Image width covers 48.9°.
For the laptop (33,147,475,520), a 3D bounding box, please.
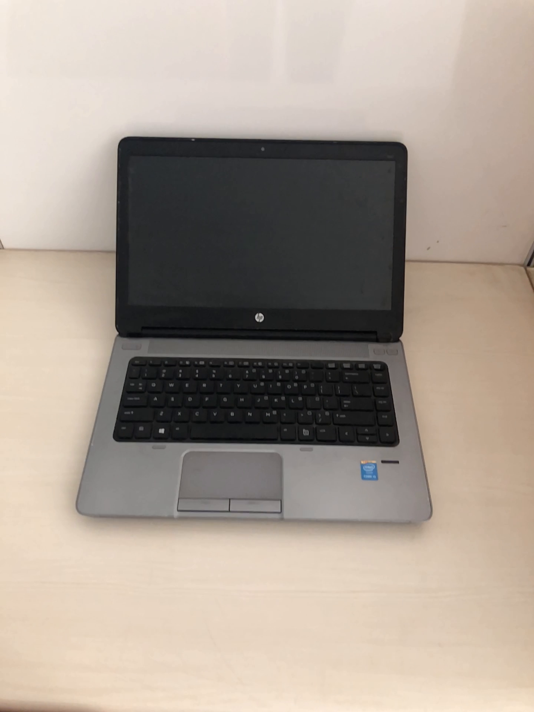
[{"bbox_3d":[-0.008,-0.046,0.607,0.322,0.148,0.379,1,49,0],"label":"laptop"}]
